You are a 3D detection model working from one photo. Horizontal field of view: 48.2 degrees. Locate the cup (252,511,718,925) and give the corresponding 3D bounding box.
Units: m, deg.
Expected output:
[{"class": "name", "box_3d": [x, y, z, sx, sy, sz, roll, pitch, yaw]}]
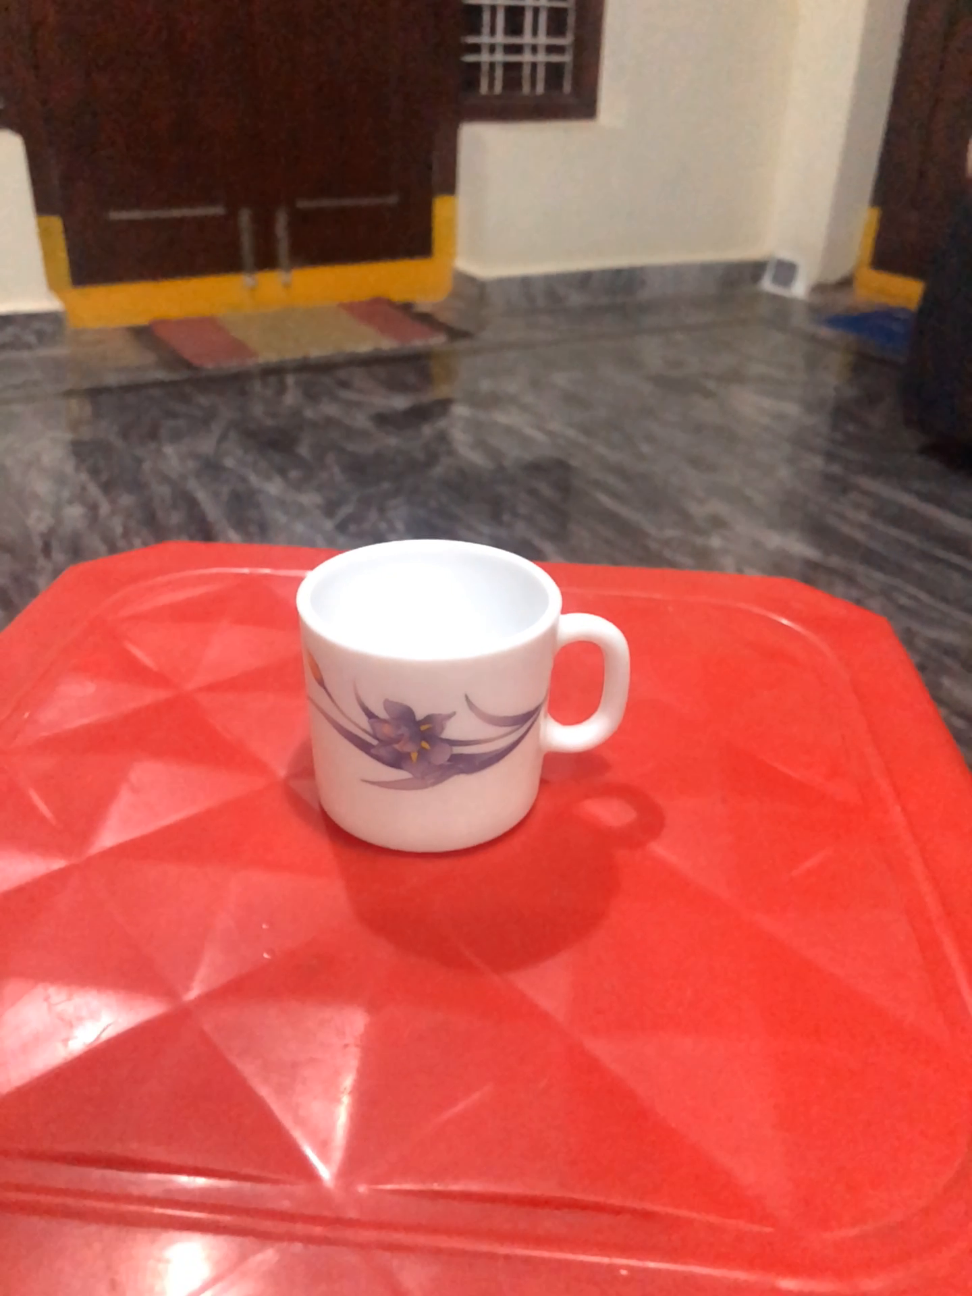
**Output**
[{"class": "cup", "box_3d": [-0.004, 0.012, 0.270, 0.090, 0.060, 0.070, -10, 31, -20]}]
